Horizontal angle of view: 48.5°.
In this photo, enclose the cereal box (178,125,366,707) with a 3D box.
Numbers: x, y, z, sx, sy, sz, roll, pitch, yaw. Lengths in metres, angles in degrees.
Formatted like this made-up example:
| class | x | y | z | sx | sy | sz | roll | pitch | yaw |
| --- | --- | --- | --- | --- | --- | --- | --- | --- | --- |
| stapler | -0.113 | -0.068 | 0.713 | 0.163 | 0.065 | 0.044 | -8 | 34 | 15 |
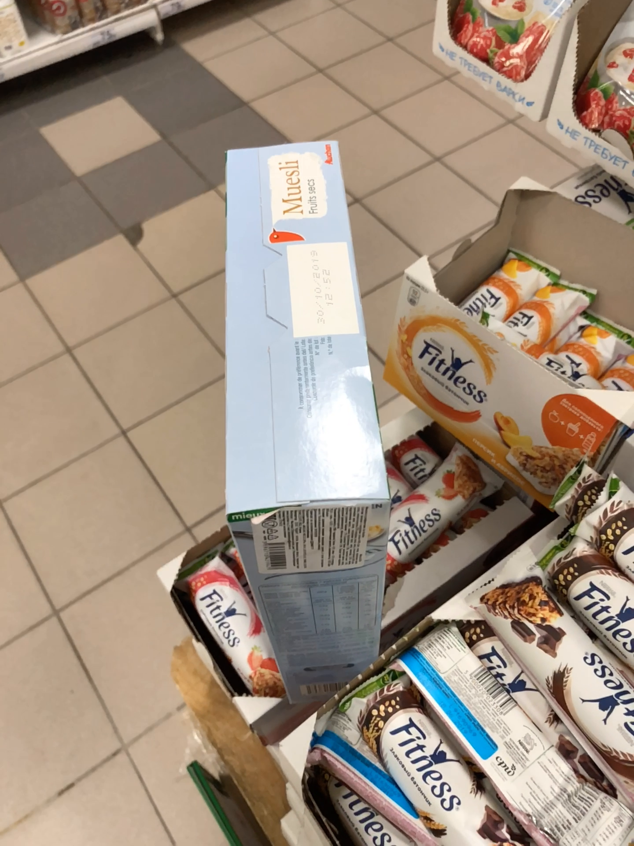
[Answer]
| class | x | y | z | sx | sy | sz | roll | pitch | yaw |
| --- | --- | --- | --- | --- | --- | --- | --- | --- | --- |
| cereal box | -0.012 | 0.023 | 0.399 | 0.060 | 0.289 | 0.201 | -3 | 57 | 1 |
